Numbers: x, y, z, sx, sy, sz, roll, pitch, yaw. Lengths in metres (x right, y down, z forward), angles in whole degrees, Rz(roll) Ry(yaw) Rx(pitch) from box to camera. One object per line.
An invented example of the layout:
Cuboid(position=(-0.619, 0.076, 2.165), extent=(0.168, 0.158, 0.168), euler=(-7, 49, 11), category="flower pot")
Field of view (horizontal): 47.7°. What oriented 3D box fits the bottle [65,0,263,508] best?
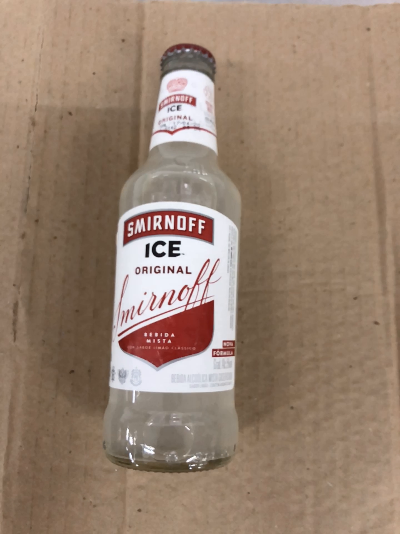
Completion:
Cuboid(position=(-0.011, -0.015, 0.201), extent=(0.070, 0.050, 0.210), euler=(1, 81, -1), category="bottle")
